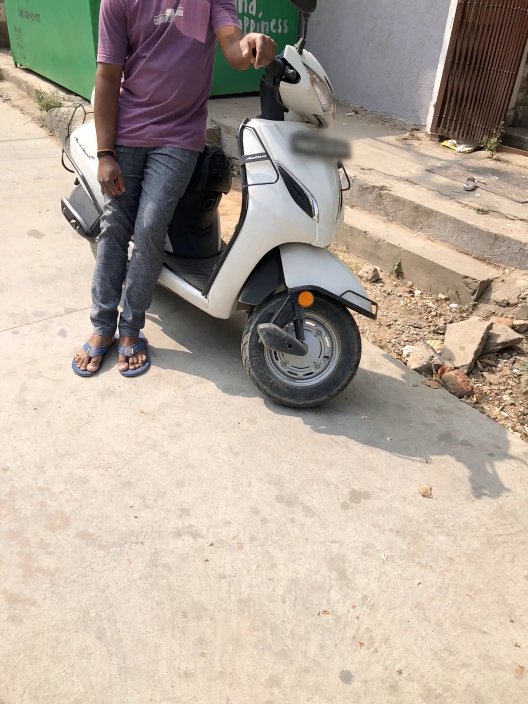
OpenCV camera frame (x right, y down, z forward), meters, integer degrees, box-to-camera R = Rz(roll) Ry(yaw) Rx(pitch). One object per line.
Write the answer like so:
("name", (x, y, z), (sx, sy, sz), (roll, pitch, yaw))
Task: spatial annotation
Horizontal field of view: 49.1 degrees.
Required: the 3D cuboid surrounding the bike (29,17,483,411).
("bike", (-0.132, -0.654, 2.279), (1.522, 1.007, 0.650), (29, 40, 32))
